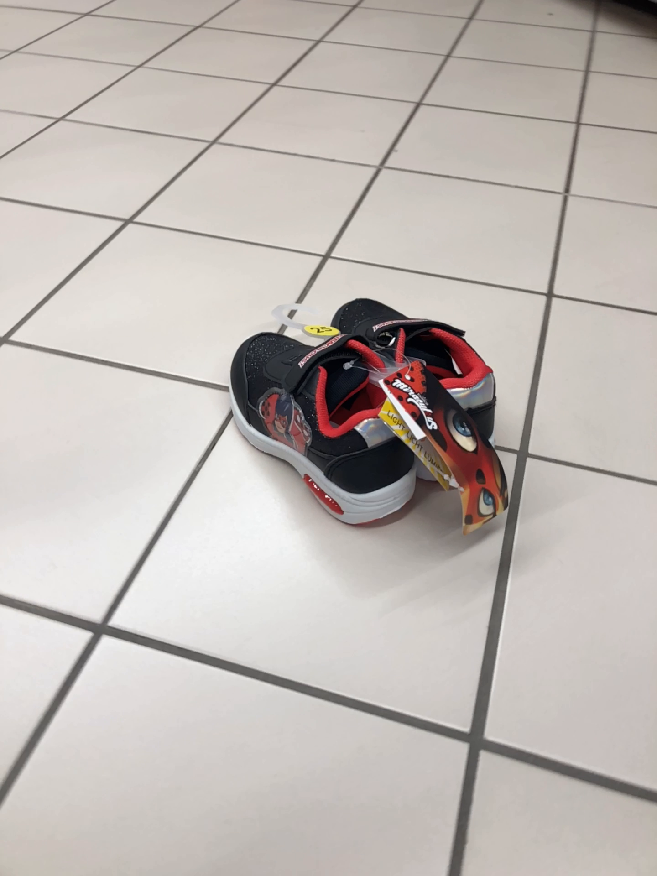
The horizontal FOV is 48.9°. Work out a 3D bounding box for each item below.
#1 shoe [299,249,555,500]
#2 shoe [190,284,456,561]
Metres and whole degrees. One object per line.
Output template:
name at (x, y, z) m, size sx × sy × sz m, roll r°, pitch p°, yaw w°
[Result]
shoe at (0.056, -0.050, 0.485) m, size 0.075 × 0.069 × 0.167 m, roll -24°, pitch 49°, yaw -24°
shoe at (-0.010, -0.018, 0.458) m, size 0.077 × 0.071 × 0.168 m, roll -26°, pitch 50°, yaw -25°
